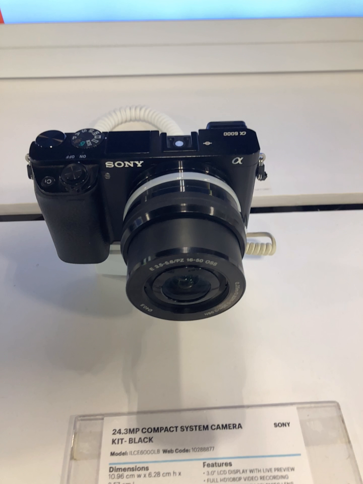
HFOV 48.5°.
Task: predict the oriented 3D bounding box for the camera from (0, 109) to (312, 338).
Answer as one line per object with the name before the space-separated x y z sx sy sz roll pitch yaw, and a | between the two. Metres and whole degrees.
camera | -0.013 -0.013 0.225 0.130 0.070 0.101 -3 49 -2
